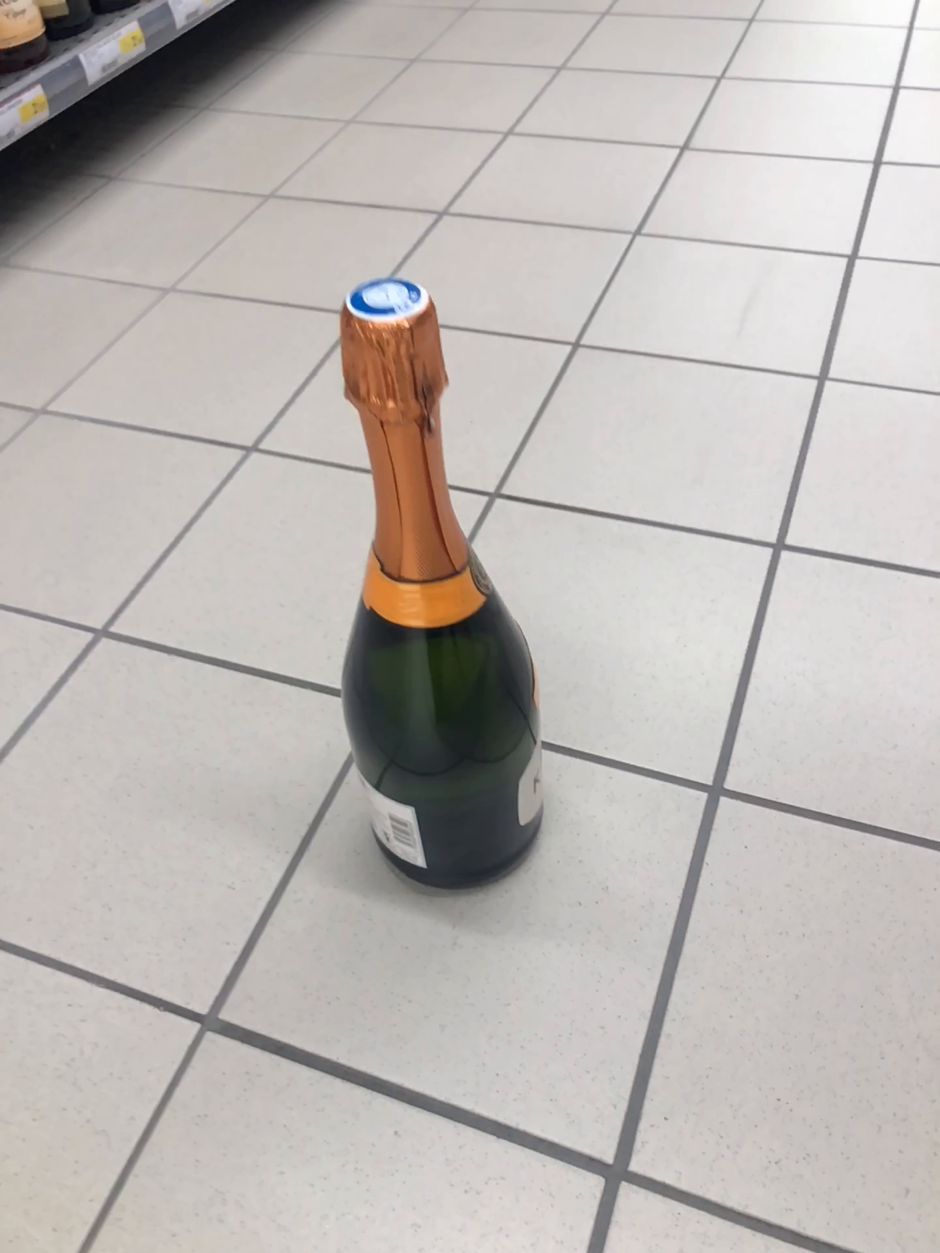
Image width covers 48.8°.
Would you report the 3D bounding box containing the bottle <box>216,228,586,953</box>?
[{"bbox_3d":[-0.017,0.007,0.448,0.100,0.308,0.100,-3,45,3],"label":"bottle"}]
